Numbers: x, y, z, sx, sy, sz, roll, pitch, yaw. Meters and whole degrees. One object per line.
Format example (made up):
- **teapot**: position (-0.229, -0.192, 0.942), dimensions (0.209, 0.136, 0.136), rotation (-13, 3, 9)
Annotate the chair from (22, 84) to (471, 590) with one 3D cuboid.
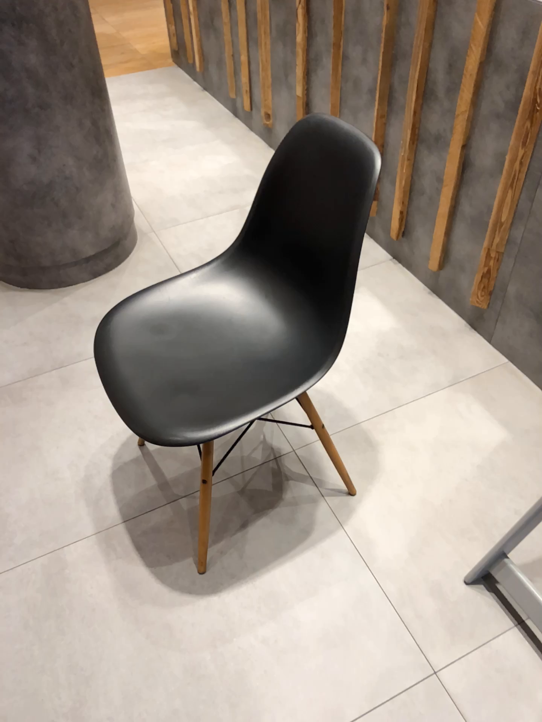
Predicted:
- **chair**: position (-0.059, -0.045, 1.227), dimensions (0.564, 0.757, 0.510), rotation (-21, 47, -19)
